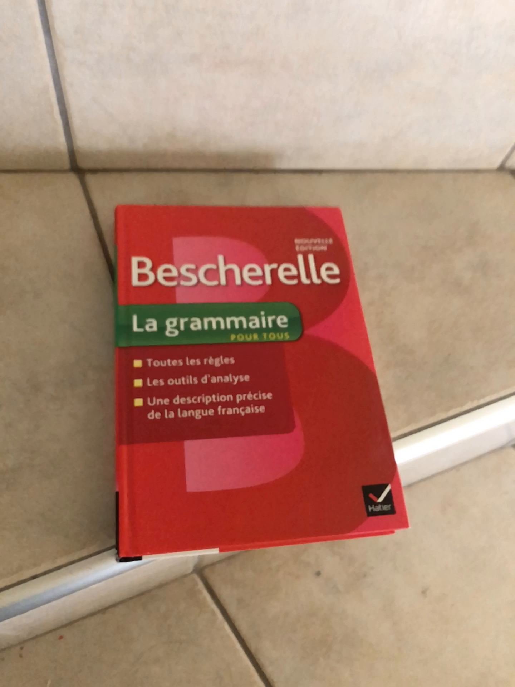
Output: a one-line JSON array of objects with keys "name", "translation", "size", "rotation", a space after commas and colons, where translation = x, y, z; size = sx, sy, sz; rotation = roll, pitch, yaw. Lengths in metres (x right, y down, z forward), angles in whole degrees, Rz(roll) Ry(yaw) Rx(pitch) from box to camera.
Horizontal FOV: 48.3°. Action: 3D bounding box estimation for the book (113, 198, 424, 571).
[{"name": "book", "translation": [-0.004, 0.007, 0.311], "size": [0.143, 0.020, 0.201], "rotation": [-2, 64, -10]}]
